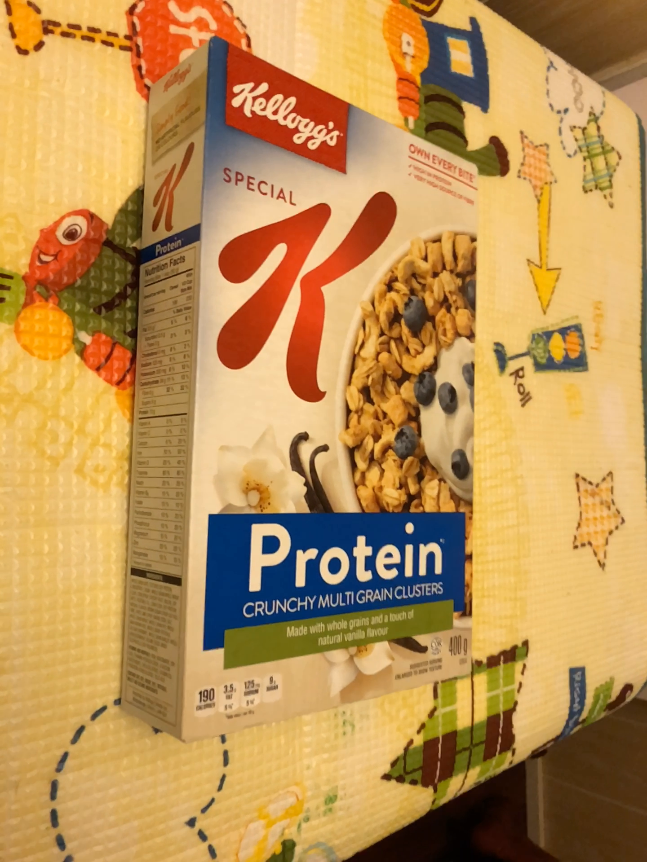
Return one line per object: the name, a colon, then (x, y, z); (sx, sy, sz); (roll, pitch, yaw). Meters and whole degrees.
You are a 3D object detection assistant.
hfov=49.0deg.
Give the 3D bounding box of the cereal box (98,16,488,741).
cereal box: (-0.002, -0.015, 0.320); (0.161, 0.060, 0.250); (7, 85, -43)
